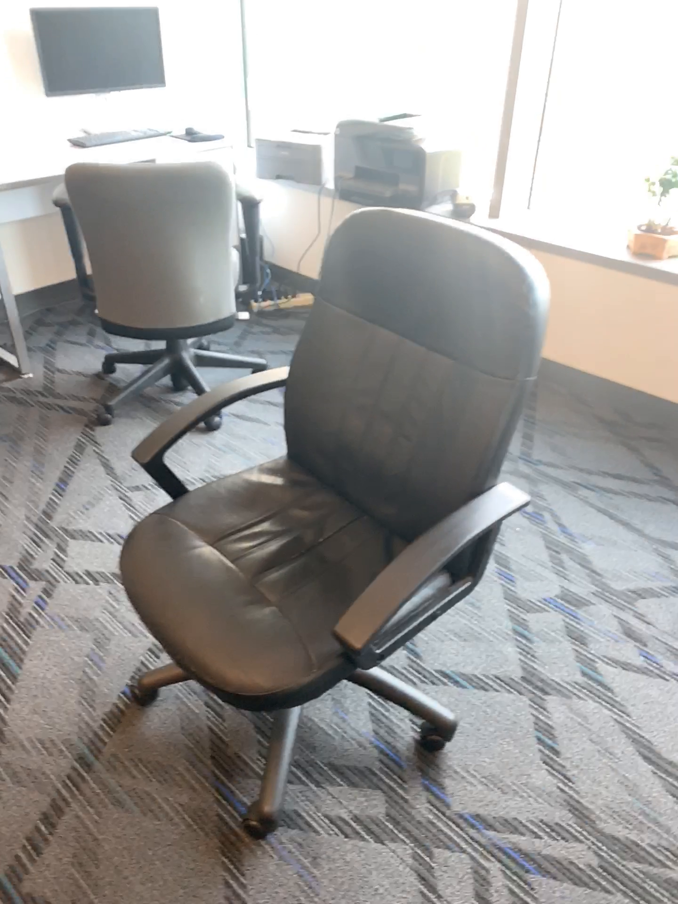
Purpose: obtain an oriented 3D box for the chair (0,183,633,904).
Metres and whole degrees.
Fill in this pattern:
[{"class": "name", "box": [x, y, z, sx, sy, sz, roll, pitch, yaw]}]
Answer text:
[{"class": "chair", "box": [-0.066, 0.087, 1.281, 0.693, 0.892, 0.703, -26, 42, -35]}]
